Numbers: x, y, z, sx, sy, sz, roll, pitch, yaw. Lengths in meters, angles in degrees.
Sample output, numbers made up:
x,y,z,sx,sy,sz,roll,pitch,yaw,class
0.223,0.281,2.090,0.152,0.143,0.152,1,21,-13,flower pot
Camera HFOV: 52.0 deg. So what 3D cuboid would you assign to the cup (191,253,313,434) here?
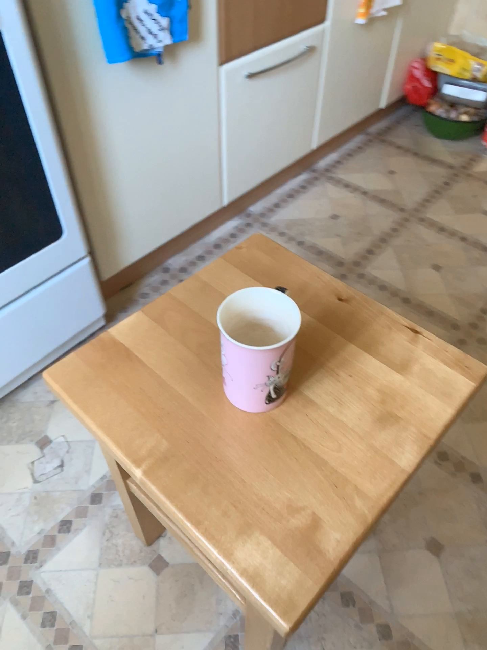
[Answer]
x,y,z,sx,sy,sz,roll,pitch,yaw,class
0.010,0.016,0.470,0.074,0.107,0.114,14,49,12,cup
